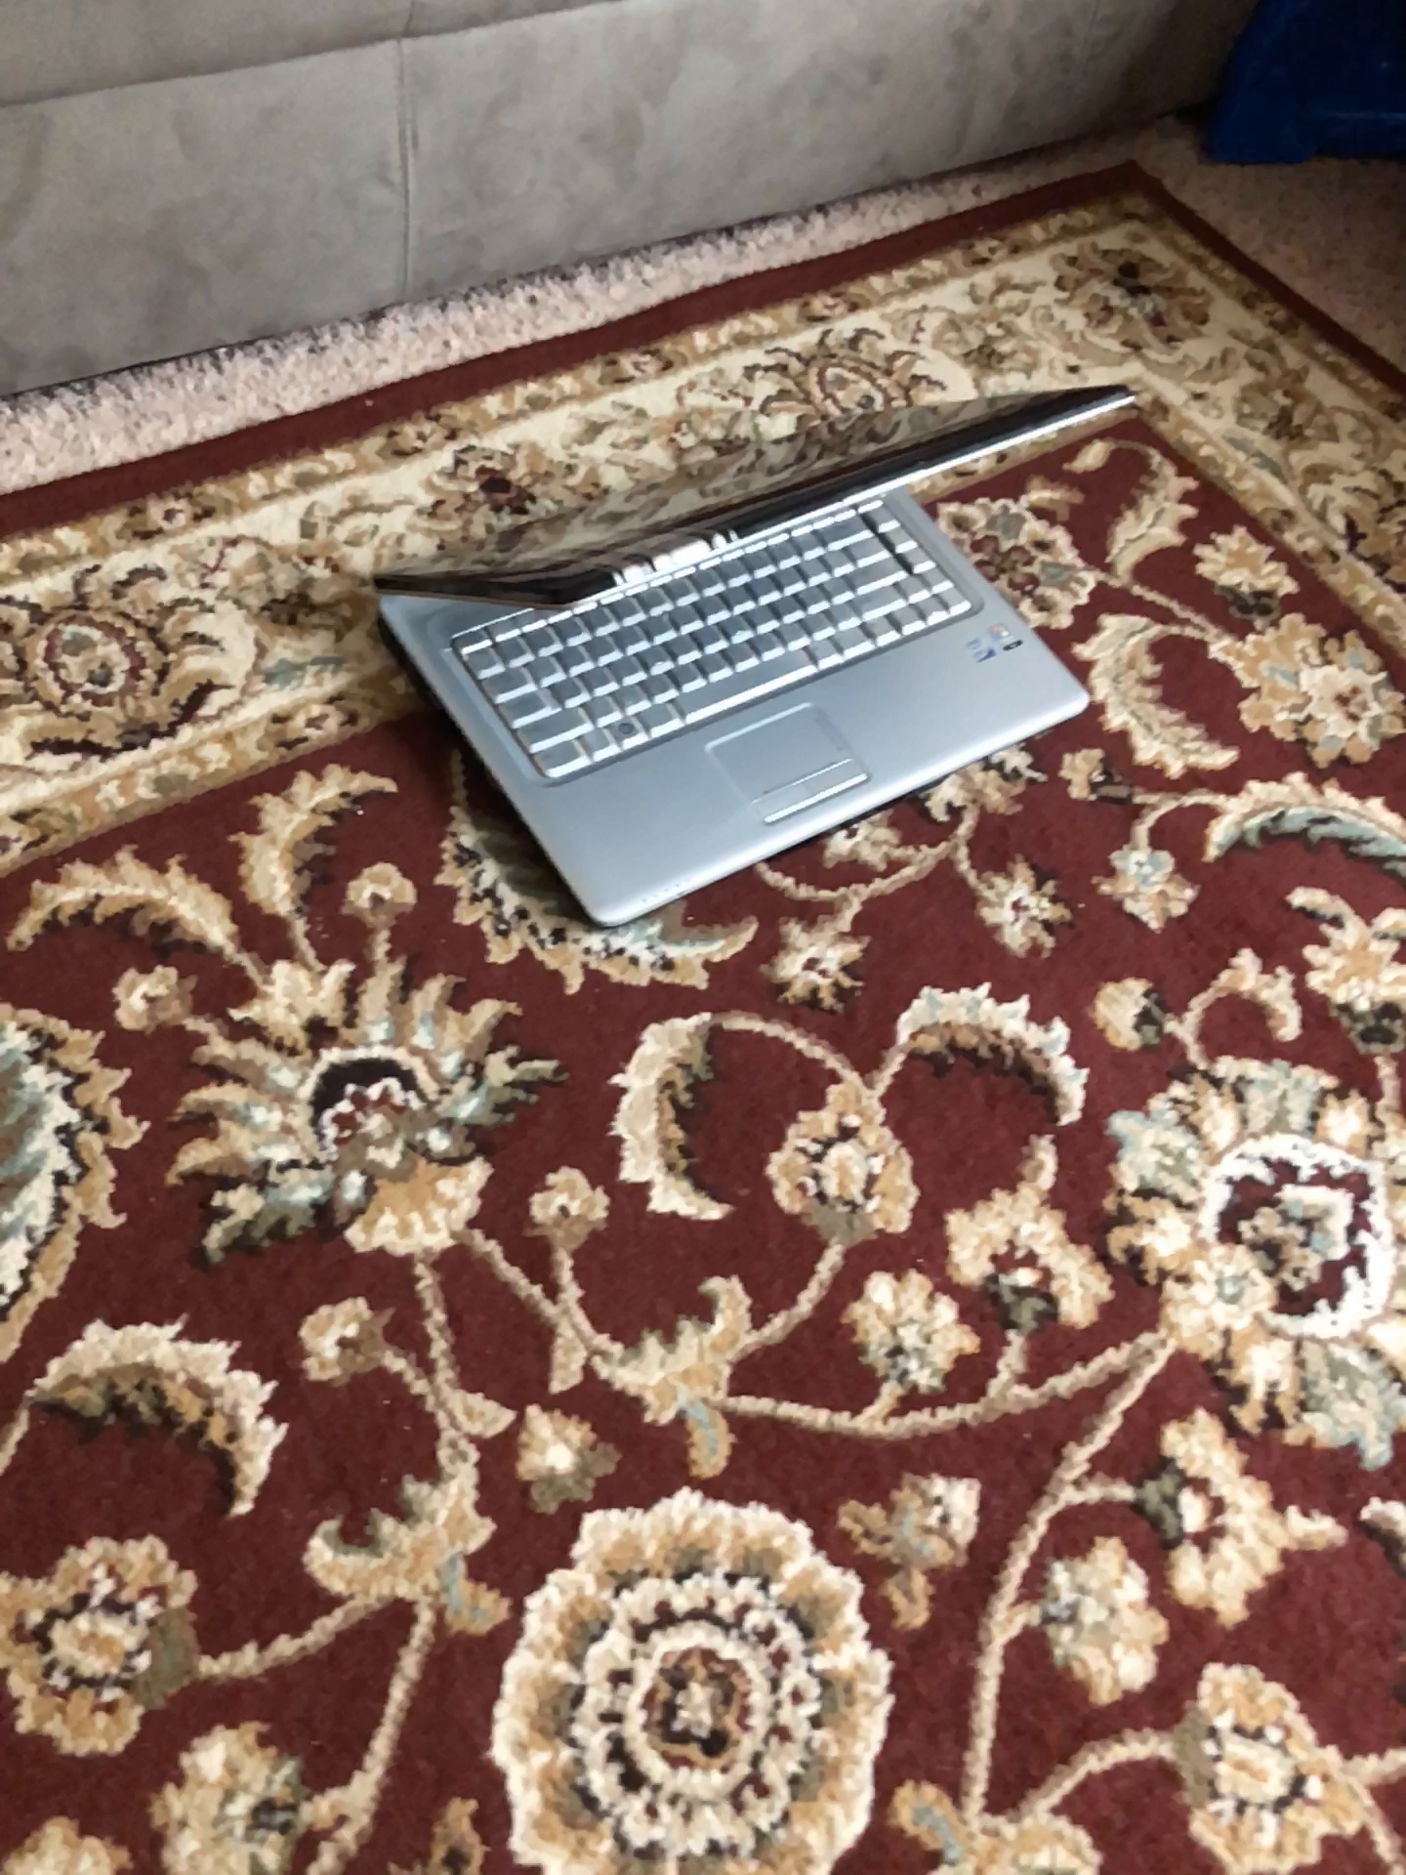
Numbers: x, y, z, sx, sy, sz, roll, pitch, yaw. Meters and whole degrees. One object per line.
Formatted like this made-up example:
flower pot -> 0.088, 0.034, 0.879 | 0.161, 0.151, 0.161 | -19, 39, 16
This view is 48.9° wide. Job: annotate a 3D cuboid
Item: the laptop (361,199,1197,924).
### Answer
laptop -> 0.032, -0.212, 0.822 | 0.342, 0.164, 0.244 | -26, 66, -25
